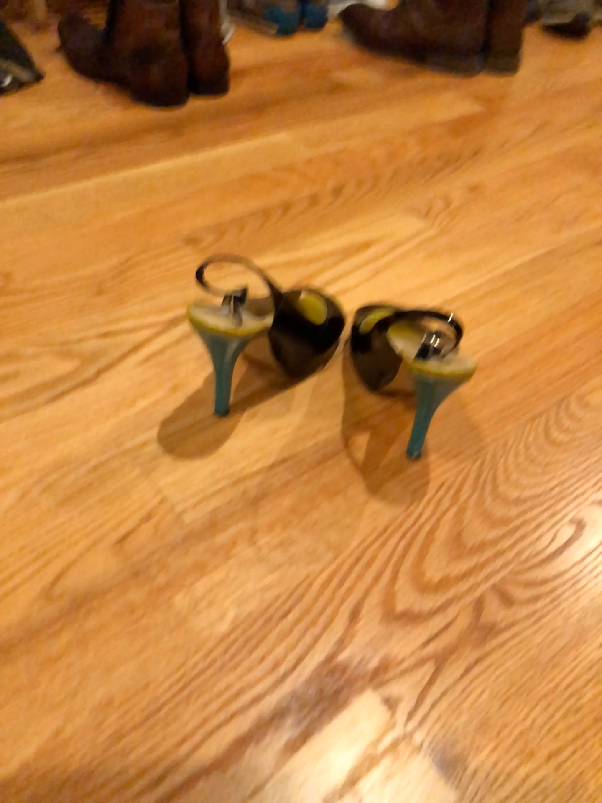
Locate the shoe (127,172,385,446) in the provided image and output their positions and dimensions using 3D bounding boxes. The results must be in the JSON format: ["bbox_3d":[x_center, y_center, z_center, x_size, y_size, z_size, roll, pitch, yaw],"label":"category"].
[{"bbox_3d":[-0.030,-0.083,0.544,0.085,0.121,0.205,30,49,22],"label":"shoe"}]

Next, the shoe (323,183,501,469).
[{"bbox_3d":[0.075,-0.066,0.538,0.085,0.131,0.202,1,45,-6],"label":"shoe"}]
